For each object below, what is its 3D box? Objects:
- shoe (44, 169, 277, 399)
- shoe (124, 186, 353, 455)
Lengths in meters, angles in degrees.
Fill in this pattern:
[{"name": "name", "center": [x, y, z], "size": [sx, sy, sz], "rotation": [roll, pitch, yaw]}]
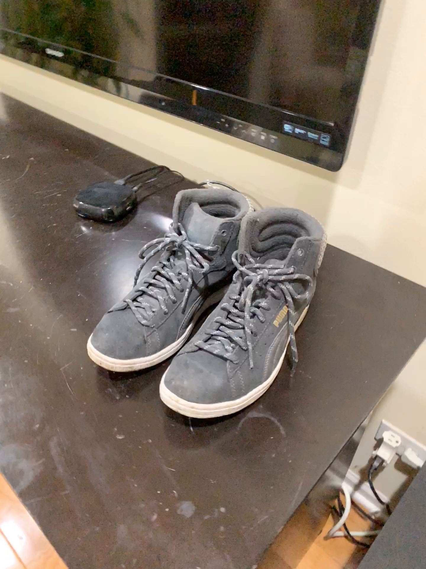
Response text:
[{"name": "shoe", "center": [-0.039, -0.019, 0.490], "size": [0.100, 0.107, 0.262], "rotation": [24, 45, 25]}, {"name": "shoe", "center": [0.039, 0.018, 0.449], "size": [0.097, 0.124, 0.254], "rotation": [24, 45, 25]}]
